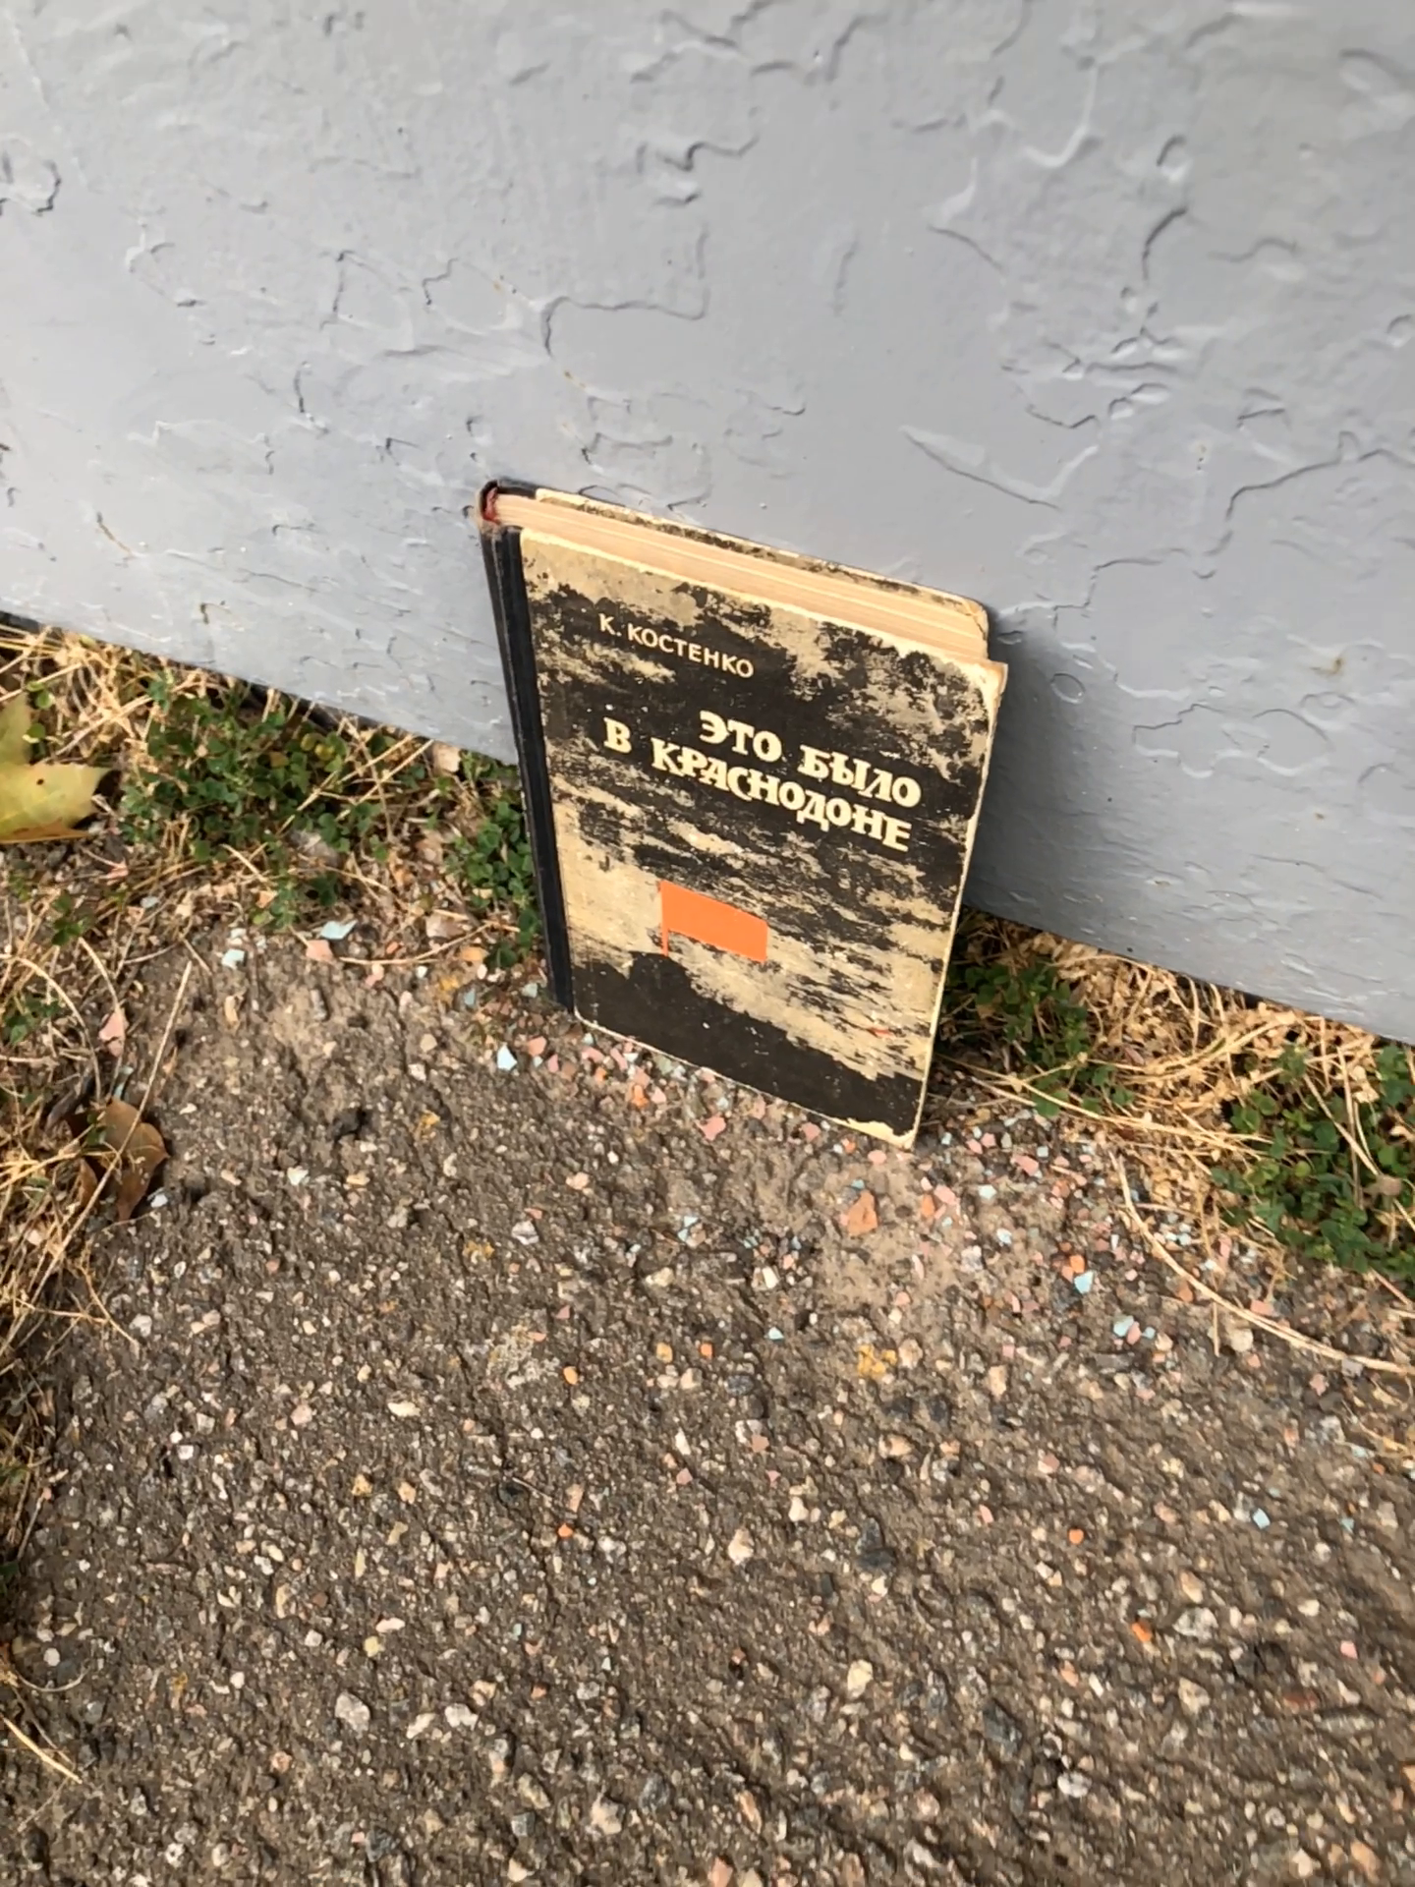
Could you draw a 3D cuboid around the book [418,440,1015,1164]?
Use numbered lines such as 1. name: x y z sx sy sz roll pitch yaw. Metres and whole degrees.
1. book: 0.002 -0.029 0.440 0.140 0.199 0.030 20 53 18
